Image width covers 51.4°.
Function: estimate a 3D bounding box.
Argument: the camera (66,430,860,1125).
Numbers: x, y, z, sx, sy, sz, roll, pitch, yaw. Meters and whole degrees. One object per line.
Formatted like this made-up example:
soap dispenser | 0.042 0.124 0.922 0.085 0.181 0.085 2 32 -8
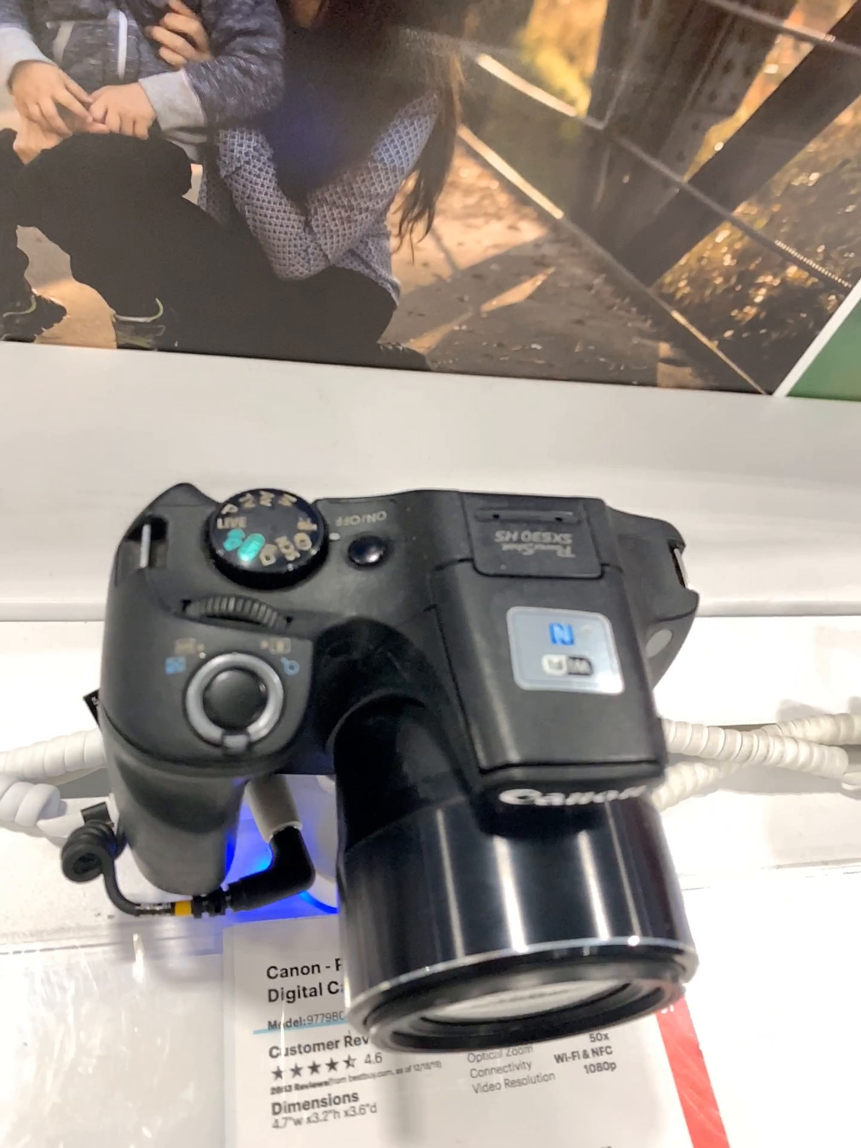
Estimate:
camera | 0.001 0.035 0.173 0.124 0.080 0.090 0 50 -17
